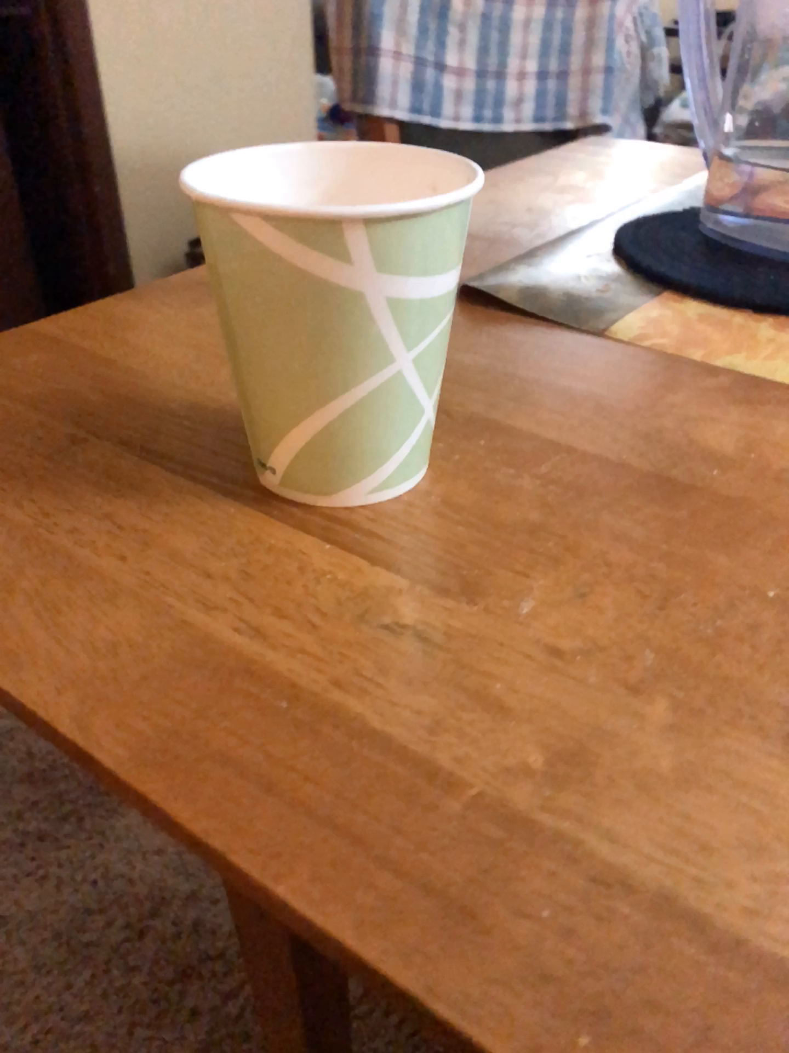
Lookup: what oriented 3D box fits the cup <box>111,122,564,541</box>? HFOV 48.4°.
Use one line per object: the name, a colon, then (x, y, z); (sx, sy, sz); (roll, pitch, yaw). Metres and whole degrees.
cup: (-0.014, -0.070, 0.283); (0.090, 0.090, 0.100); (22, 39, 30)
